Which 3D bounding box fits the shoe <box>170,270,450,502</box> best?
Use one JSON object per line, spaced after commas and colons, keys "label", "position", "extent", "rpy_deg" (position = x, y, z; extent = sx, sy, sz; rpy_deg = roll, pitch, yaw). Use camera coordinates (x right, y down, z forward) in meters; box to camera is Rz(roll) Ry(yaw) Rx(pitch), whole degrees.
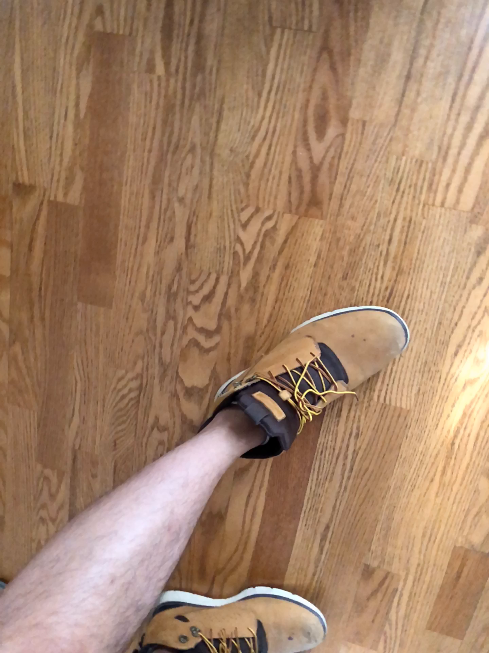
{"label": "shoe", "position": [0.076, 0.068, 0.699], "extent": [0.310, 0.150, 0.120], "rpy_deg": [-34, 96, 8]}
